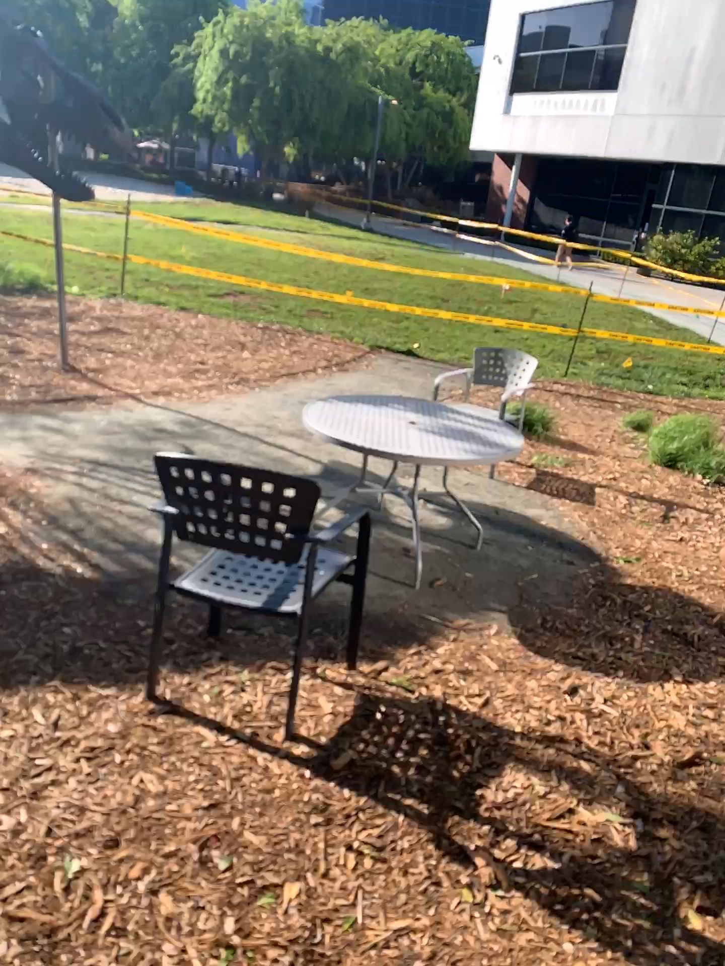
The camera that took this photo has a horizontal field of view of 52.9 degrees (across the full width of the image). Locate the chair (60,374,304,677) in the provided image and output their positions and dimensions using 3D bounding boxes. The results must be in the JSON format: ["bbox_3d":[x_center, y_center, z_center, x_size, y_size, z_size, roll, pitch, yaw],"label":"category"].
[{"bbox_3d":[-0.555,0.102,2.314,0.521,0.716,0.502,14,24,17],"label":"chair"}]
